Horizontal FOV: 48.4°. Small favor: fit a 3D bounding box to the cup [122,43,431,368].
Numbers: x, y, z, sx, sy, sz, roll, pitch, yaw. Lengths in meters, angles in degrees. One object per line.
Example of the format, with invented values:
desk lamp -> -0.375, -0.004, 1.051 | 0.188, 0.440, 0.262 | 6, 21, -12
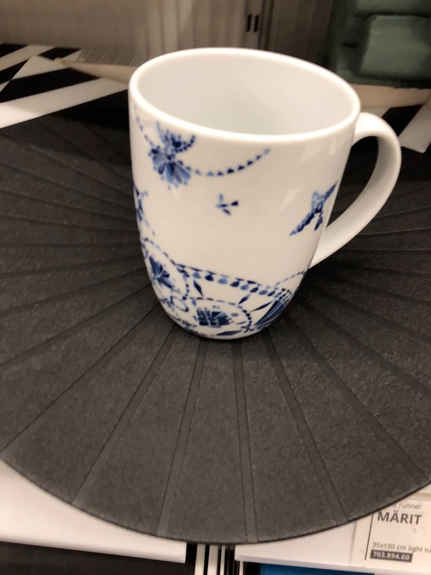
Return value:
cup -> 0.029, -0.041, 0.217 | 0.130, 0.100, 0.100 | -4, 43, -8
